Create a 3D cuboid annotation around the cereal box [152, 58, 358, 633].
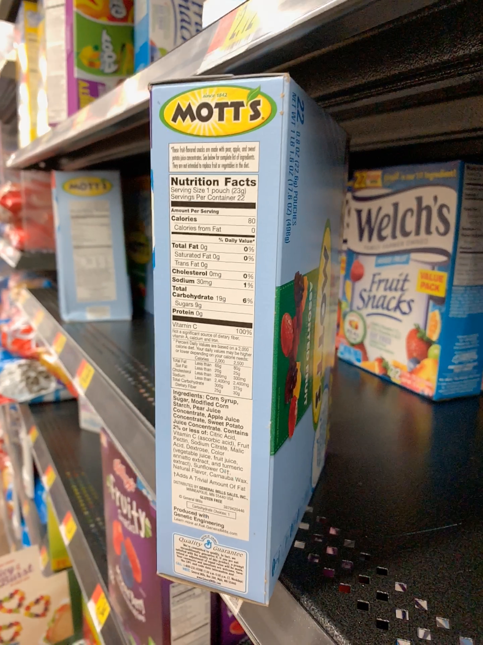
[{"bbox_3d":[0.020,0.002,0.296,0.060,0.239,0.180,5,14,18],"label":"cereal box"}]
